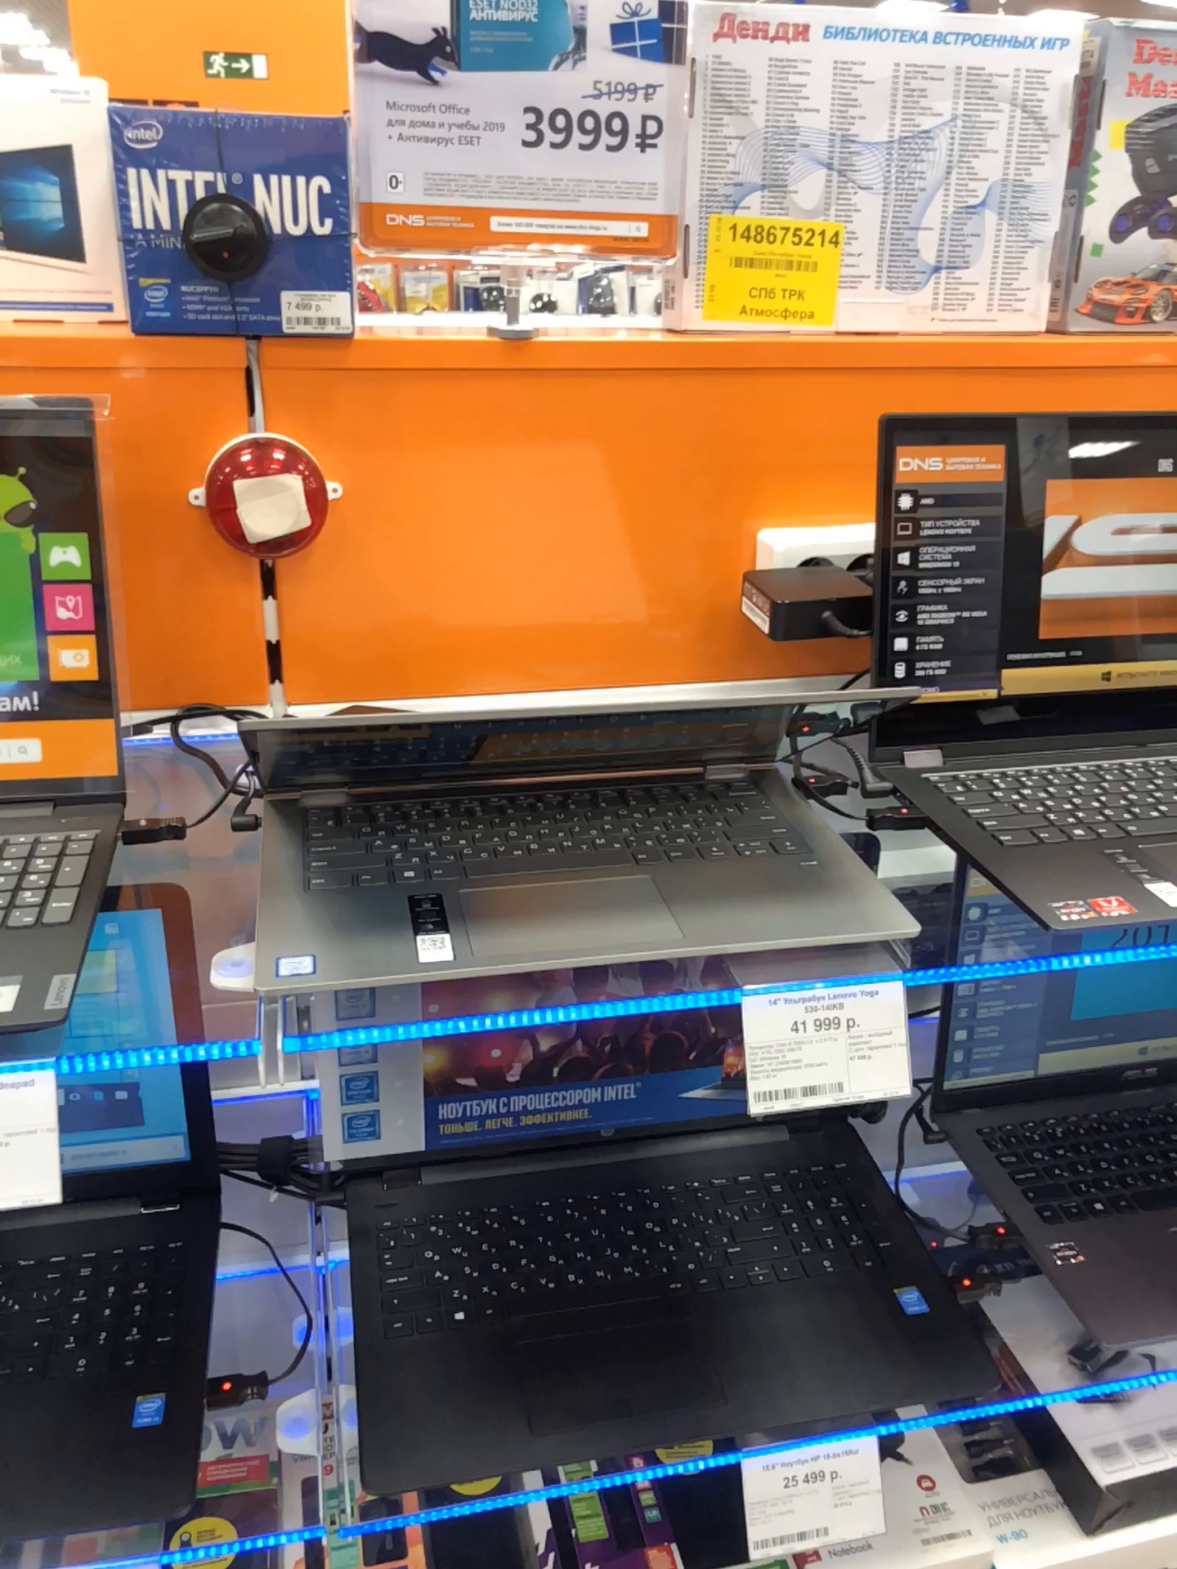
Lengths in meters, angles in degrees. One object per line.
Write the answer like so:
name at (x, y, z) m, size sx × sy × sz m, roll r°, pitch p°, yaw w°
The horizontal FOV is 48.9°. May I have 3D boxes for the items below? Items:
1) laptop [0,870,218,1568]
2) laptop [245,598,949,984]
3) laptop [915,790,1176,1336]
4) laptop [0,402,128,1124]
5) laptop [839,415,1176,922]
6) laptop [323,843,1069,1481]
laptop at (-0.393, 0.220, 0.693) m, size 0.332 × 0.222 × 0.244 m, roll -2°, pitch 26°, yaw -12°
laptop at (-0.011, -0.012, 0.677) m, size 0.313 × 0.110 × 0.210 m, roll -3°, pitch 24°, yaw -12°
laptop at (0.447, 0.168, 0.866) m, size 0.329 × 0.228 × 0.236 m, roll -4°, pitch 25°, yaw -13°
laptop at (-0.407, -0.043, 0.581) m, size 0.329 × 0.219 × 0.277 m, roll -4°, pitch 23°, yaw -13°
laptop at (0.367, -0.085, 0.745) m, size 0.327 × 0.210 × 0.247 m, roll -4°, pitch 24°, yaw -14°
laptop at (0.035, 0.203, 0.786) m, size 0.361 × 0.223 × 0.261 m, roll -3°, pitch 23°, yaw -11°
